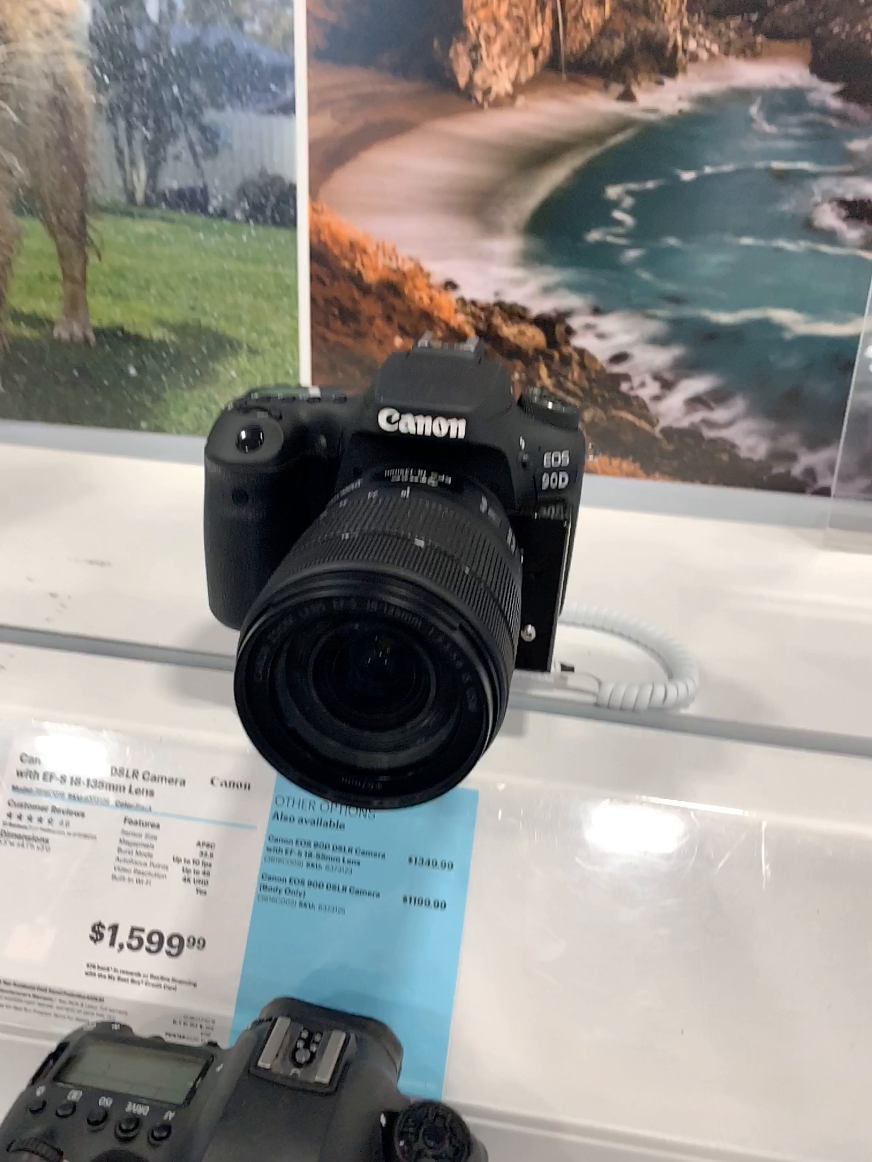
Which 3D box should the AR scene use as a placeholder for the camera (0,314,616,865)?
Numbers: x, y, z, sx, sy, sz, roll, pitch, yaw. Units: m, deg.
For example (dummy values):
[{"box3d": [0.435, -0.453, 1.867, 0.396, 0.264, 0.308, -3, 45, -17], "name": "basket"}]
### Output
[{"box3d": [-0.024, -0.016, 0.300, 0.148, 0.104, 0.171, 6, 26, 7], "name": "camera"}]
